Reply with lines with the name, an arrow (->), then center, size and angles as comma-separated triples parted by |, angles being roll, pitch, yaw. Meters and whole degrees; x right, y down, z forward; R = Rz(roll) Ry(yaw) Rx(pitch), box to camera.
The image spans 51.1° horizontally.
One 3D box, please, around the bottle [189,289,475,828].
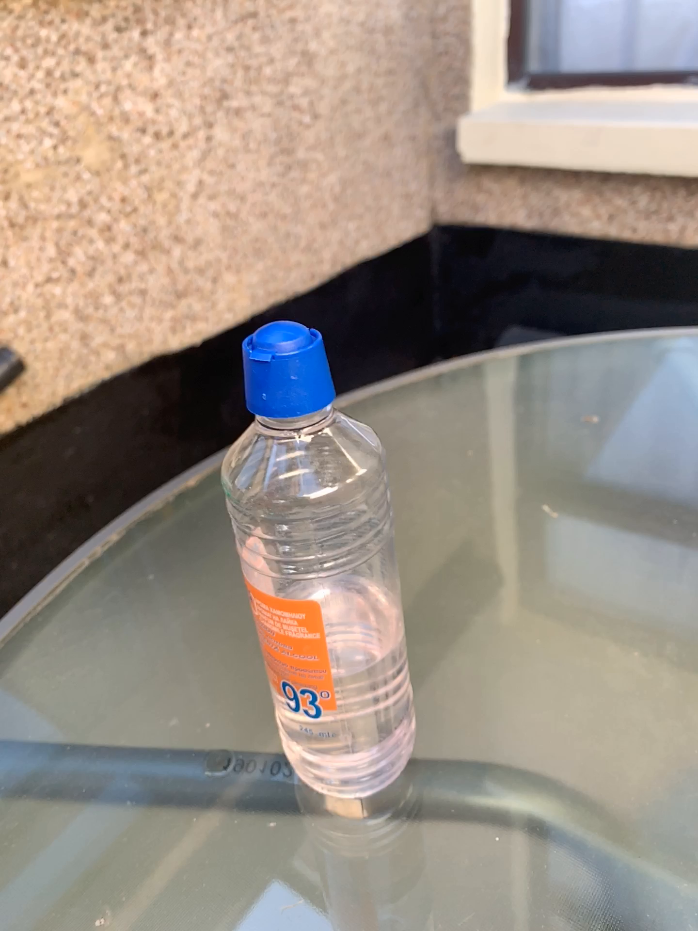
bottle -> -0.001, 0.034, 0.239 | 0.060, 0.158, 0.061 | -4, 32, 3
